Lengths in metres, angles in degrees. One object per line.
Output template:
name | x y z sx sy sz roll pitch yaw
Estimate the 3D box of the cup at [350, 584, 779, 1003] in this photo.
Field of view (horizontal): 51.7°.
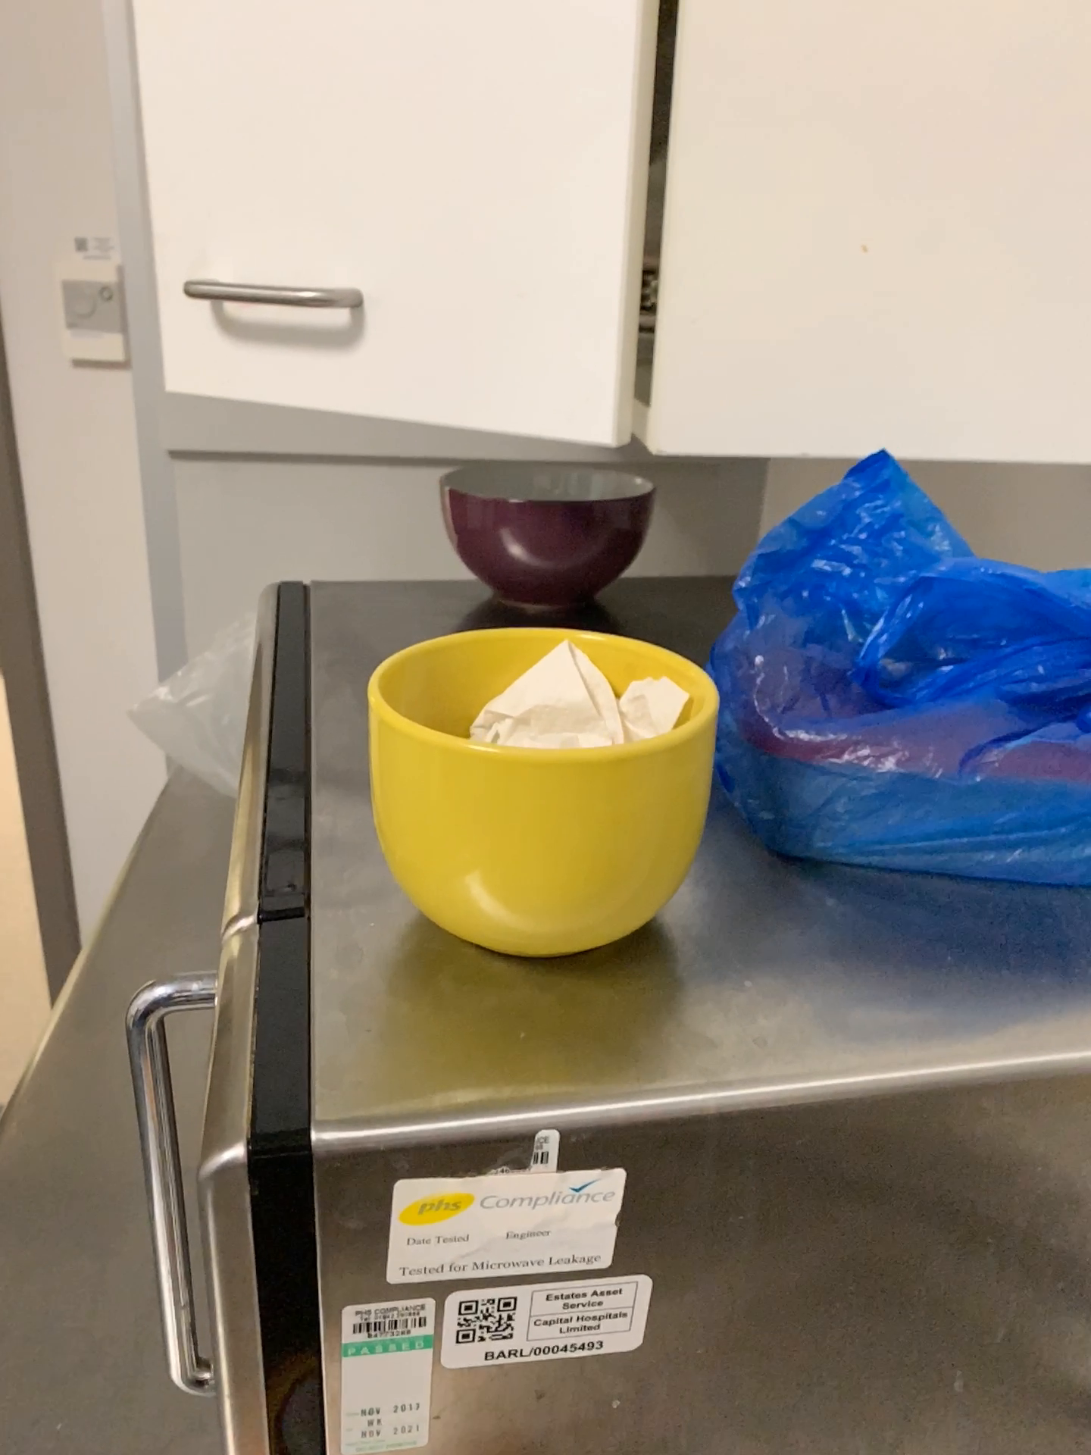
cup | -0.007 0.011 0.397 0.116 0.082 0.155 -2 23 -11
